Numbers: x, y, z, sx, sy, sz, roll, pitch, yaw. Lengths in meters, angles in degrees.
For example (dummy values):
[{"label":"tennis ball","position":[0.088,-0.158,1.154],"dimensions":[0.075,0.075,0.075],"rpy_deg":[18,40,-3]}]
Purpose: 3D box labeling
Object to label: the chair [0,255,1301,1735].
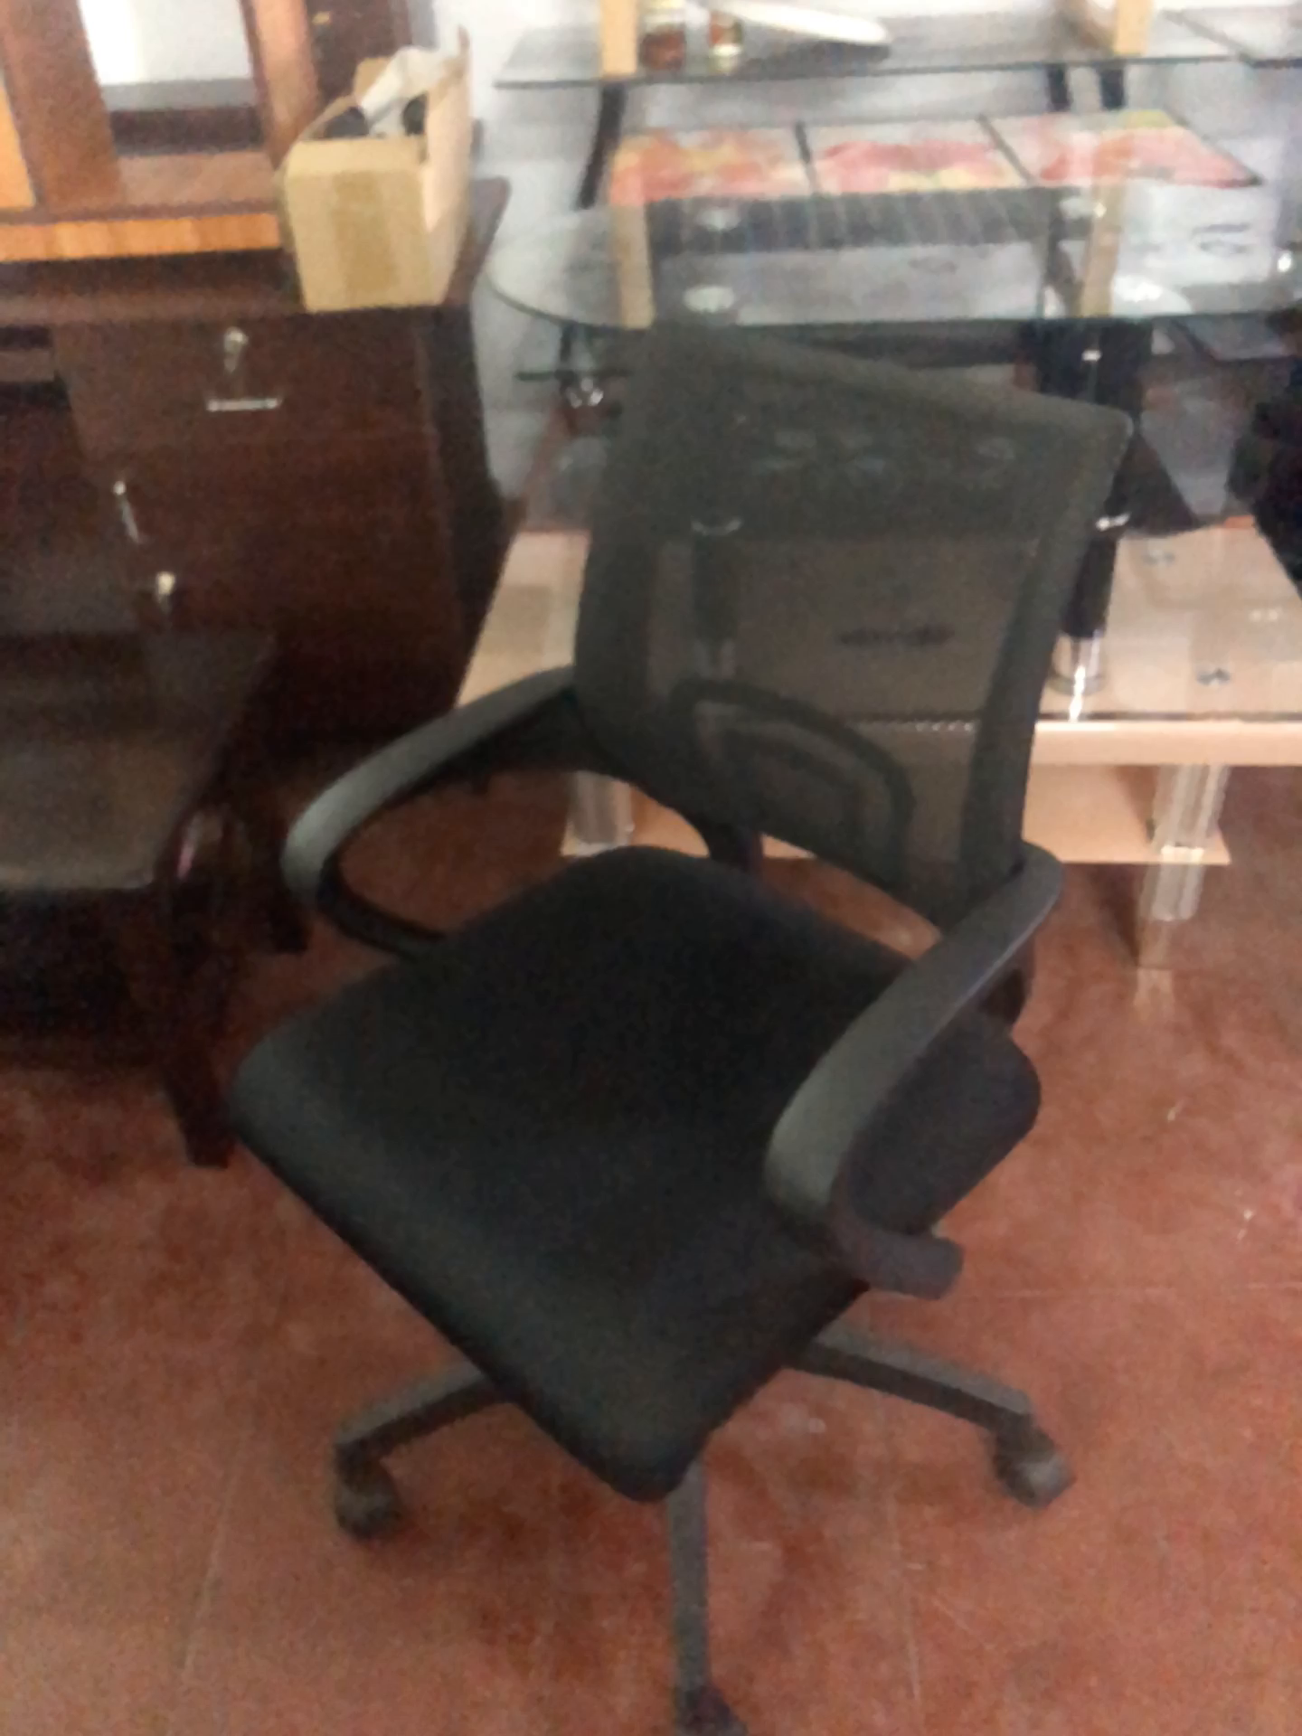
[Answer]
[{"label":"chair","position":[0.009,0.116,1.156],"dimensions":[0.751,0.915,0.633],"rpy_deg":[28,47,35]}]
